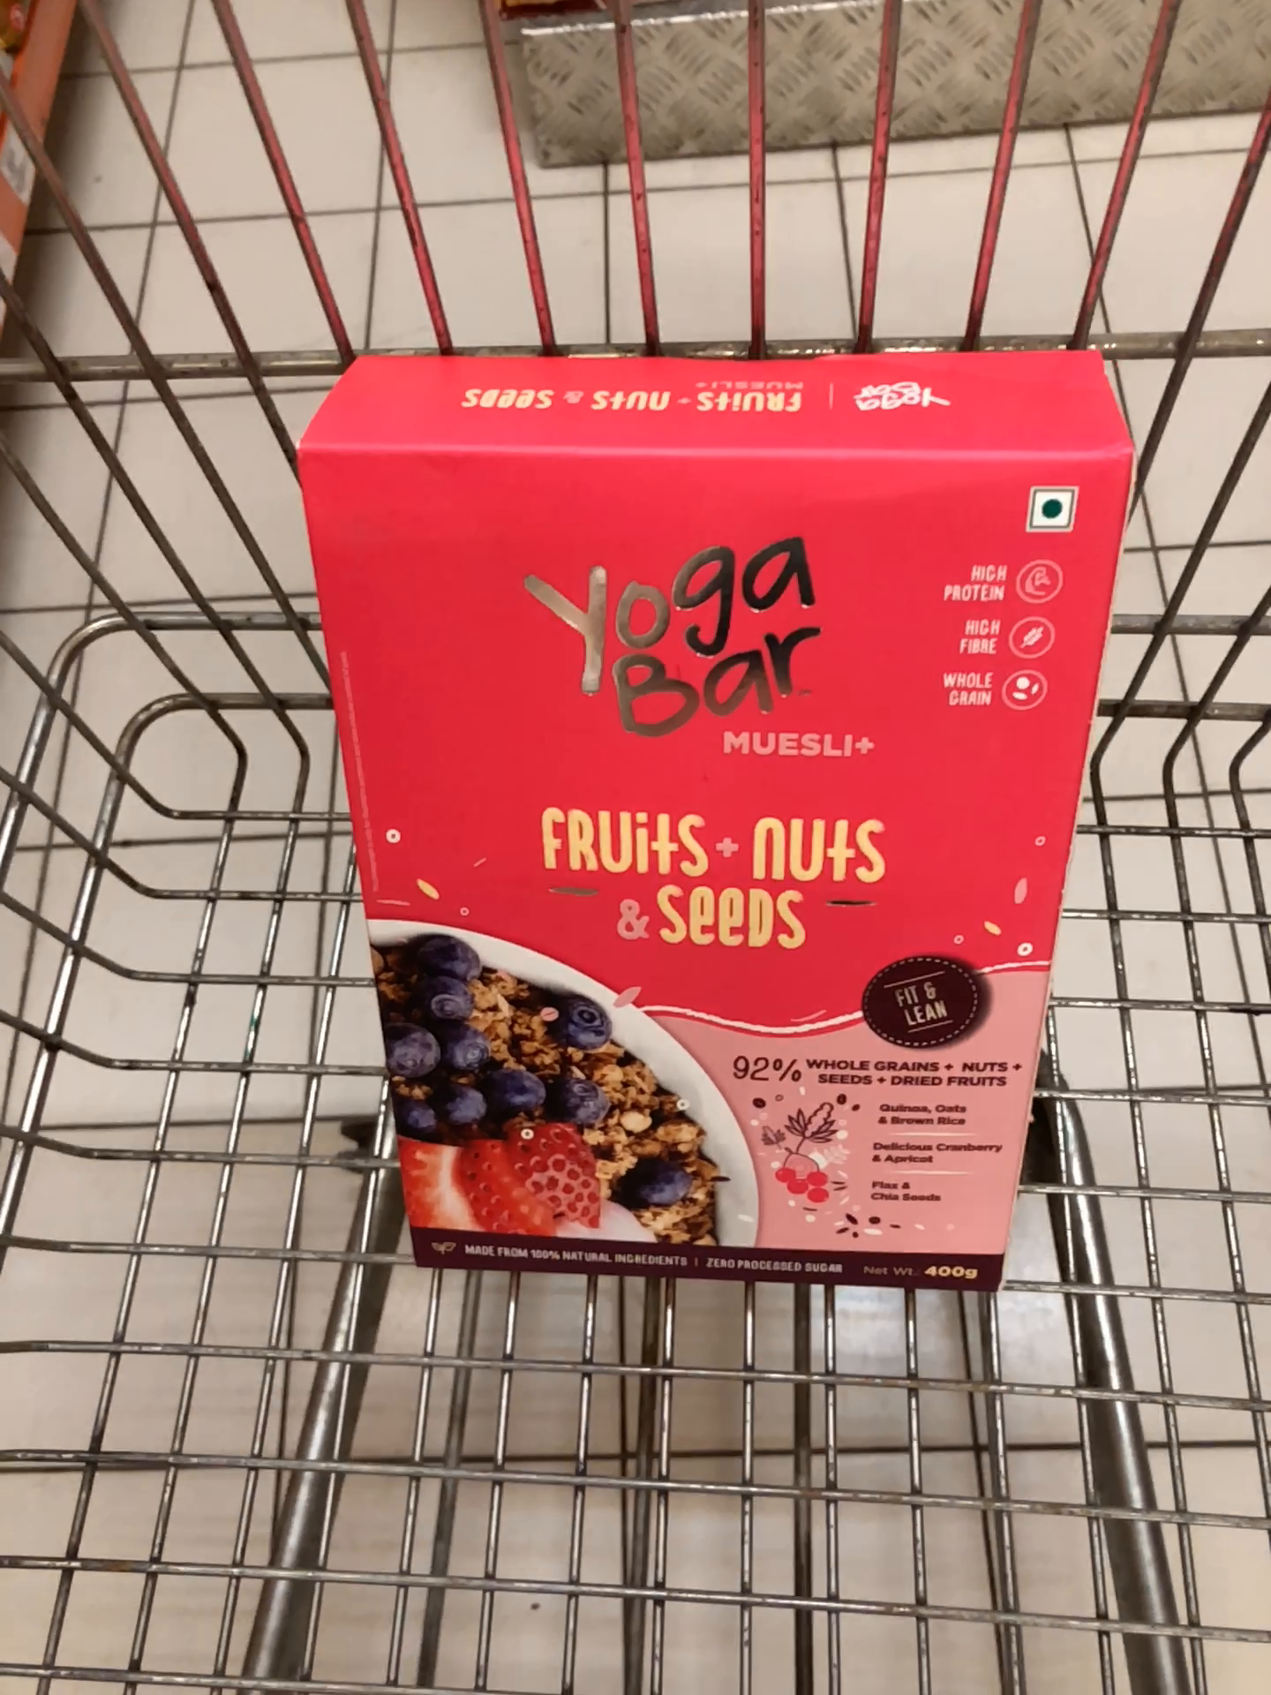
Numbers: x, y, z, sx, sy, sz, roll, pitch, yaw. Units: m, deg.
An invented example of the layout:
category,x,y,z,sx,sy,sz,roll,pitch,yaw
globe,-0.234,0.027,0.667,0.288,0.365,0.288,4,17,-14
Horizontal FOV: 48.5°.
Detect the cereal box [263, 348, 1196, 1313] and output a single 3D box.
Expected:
category,x,y,z,sx,sy,sz,roll,pitch,yaw
cereal box,0.020,0.008,0.349,0.170,0.239,0.060,2,34,5
